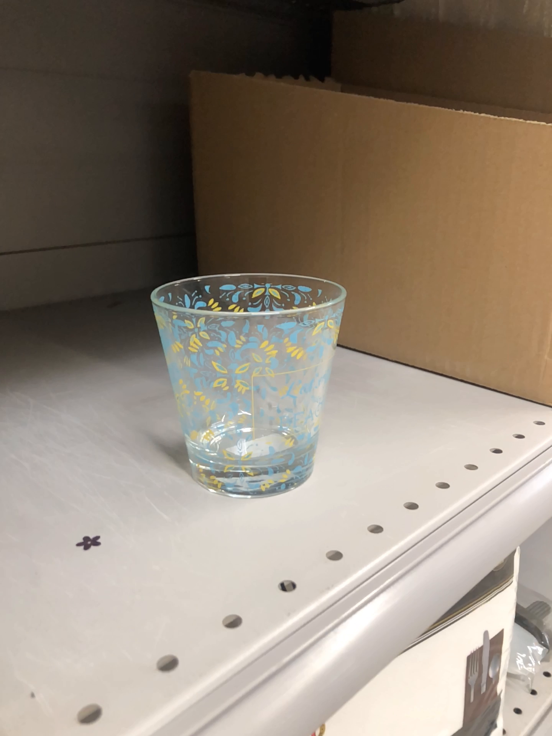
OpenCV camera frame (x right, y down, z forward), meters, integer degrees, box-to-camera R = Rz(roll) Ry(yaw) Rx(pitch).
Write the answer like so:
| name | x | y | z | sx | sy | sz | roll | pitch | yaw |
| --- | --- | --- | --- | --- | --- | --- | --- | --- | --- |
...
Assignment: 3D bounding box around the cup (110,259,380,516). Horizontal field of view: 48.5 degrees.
| name | x | y | z | sx | sy | sz | roll | pitch | yaw |
| --- | --- | --- | --- | --- | --- | --- | --- | --- | --- |
| cup | -0.013 | 0.000 | 0.288 | 0.083 | 0.080 | 0.089 | 2 | 20 | -1 |
